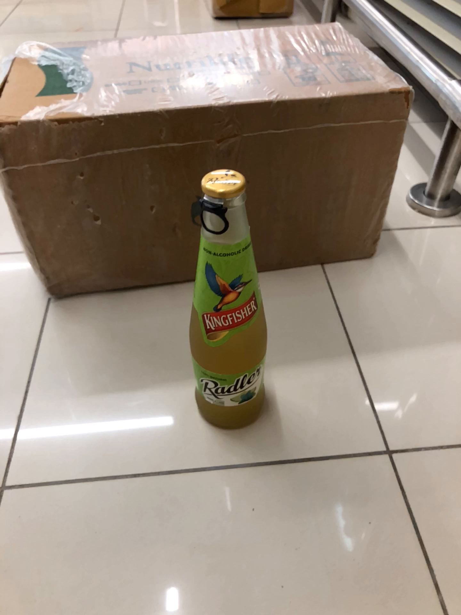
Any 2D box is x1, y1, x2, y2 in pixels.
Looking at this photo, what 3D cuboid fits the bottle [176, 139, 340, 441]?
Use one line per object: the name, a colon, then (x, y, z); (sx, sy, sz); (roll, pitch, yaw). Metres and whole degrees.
bottle: (0.012, -0.002, 0.357); (0.080, 0.199, 0.080); (0, 43, 0)
